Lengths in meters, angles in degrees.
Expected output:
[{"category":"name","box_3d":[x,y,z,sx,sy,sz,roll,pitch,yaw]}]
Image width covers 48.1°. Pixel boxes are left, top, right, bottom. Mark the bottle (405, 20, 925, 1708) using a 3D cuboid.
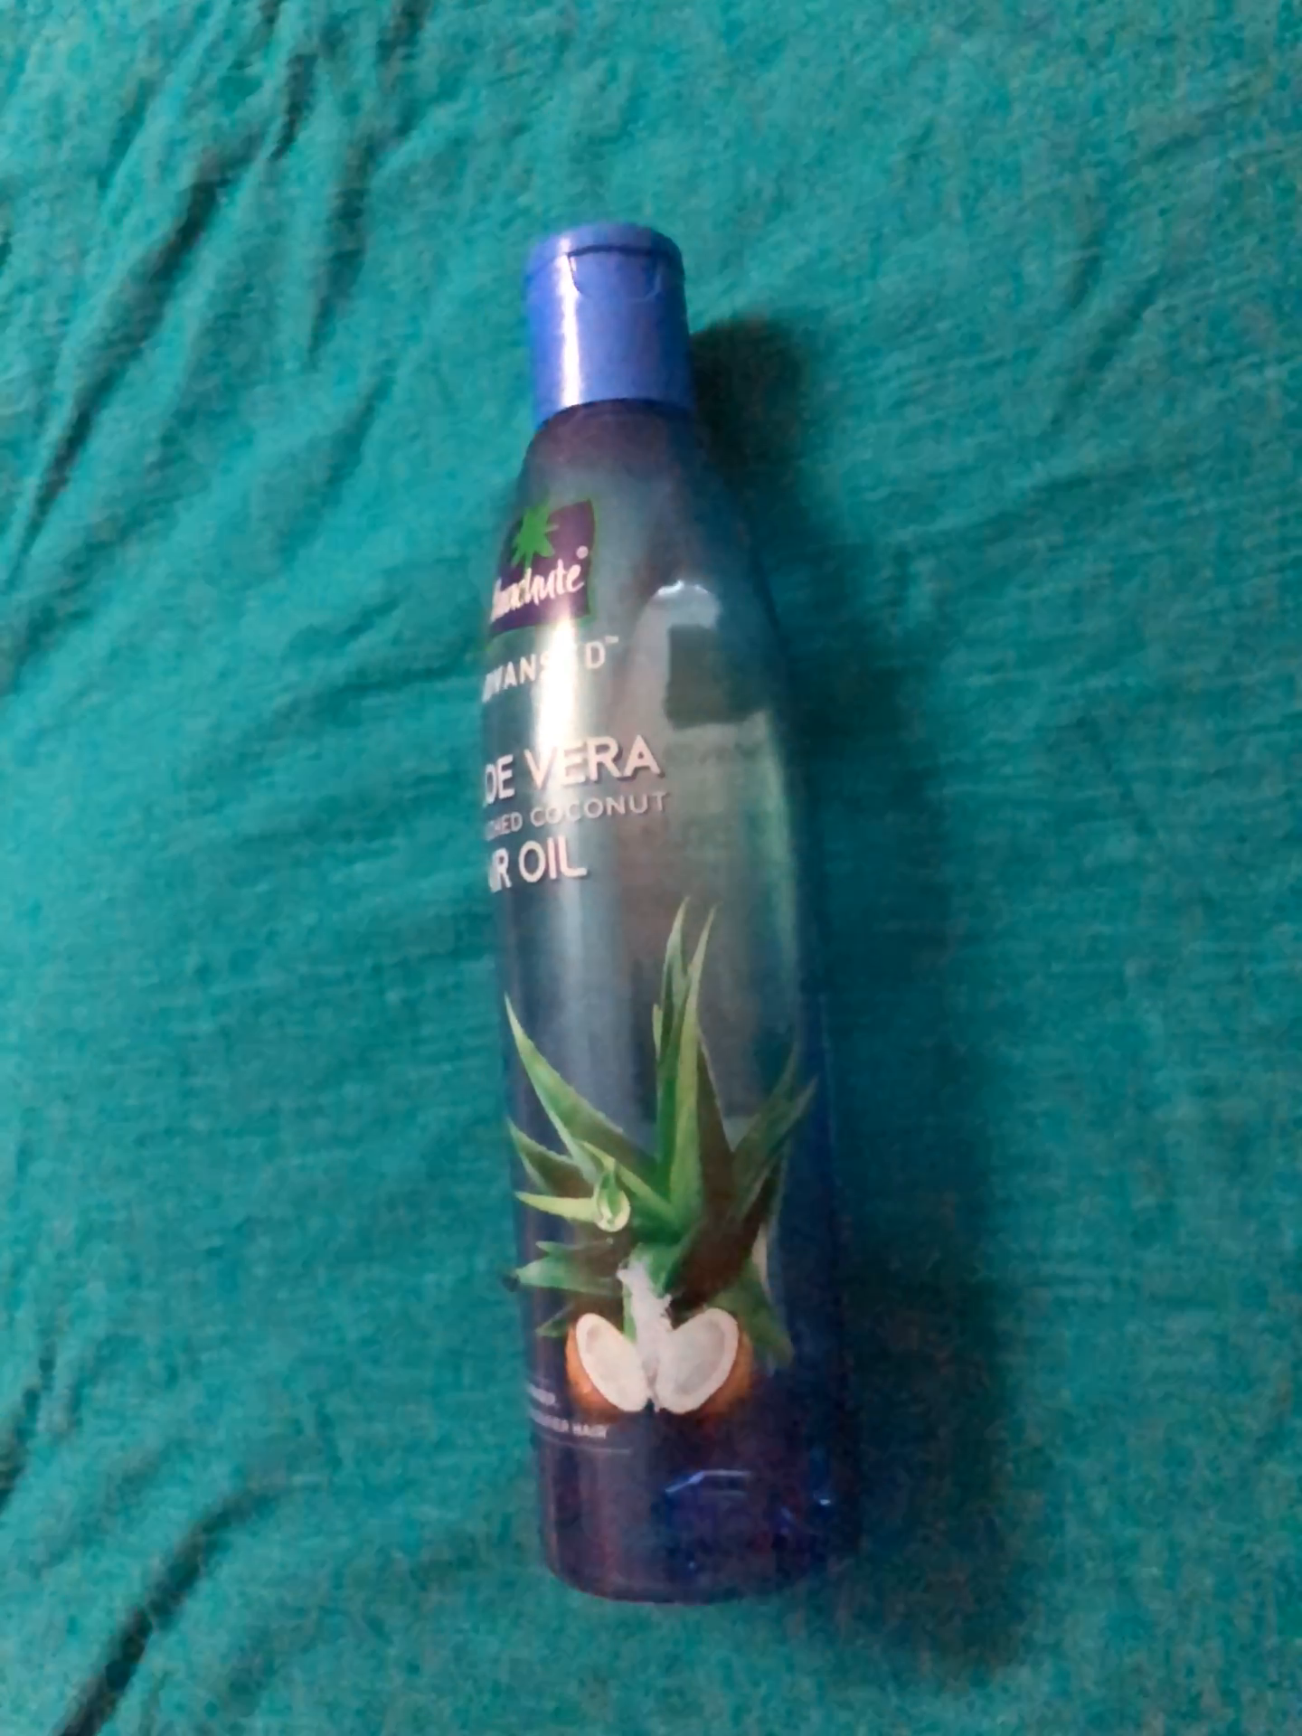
[{"category":"bottle","box_3d":[0.000,-0.004,0.211,0.050,0.040,0.210,-9,82,40]}]
